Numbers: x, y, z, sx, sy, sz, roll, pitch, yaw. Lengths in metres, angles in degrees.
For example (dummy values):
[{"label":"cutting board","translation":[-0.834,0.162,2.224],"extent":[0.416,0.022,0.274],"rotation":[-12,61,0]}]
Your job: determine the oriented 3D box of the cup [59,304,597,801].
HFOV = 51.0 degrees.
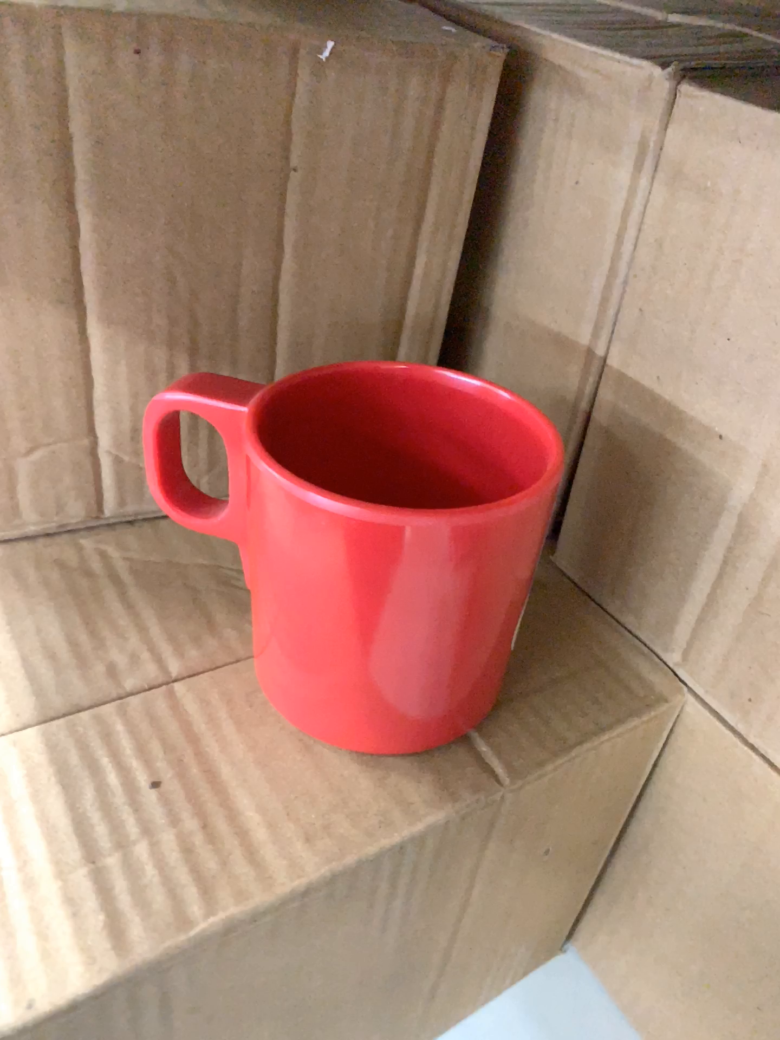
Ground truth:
[{"label":"cup","translation":[-0.014,0.003,0.207],"extent":[0.103,0.073,0.066],"rotation":[19,38,17]}]
